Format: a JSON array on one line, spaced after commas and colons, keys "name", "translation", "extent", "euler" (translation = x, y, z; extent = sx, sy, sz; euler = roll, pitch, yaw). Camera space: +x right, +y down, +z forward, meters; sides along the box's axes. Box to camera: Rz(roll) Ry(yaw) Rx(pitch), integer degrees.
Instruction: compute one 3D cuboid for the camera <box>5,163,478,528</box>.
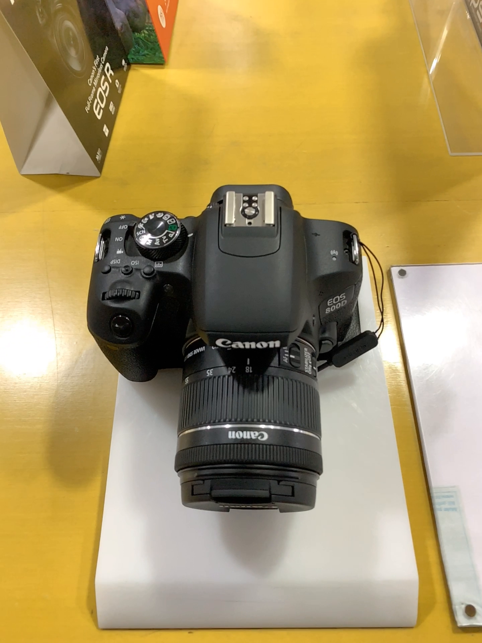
[{"name": "camera", "translation": [0.000, 0.015, 0.217], "extent": [0.140, 0.090, 0.130], "euler": [-1, 62, 2]}]
